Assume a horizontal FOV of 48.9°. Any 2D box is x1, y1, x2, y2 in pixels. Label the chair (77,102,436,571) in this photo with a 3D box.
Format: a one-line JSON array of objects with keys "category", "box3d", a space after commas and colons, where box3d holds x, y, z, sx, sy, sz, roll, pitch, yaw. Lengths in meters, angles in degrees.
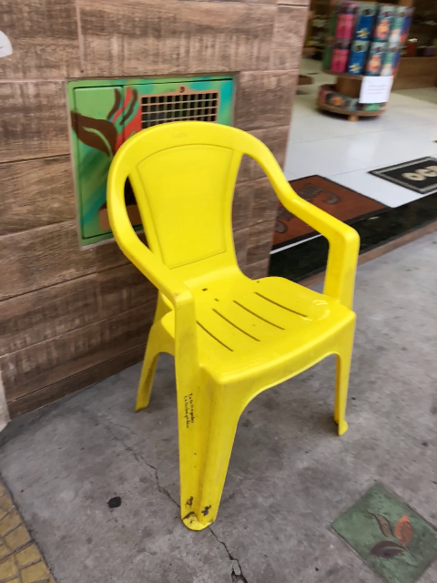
[{"category": "chair", "box3d": [0.118, 0.028, 1.114, 0.642, 0.744, 0.542, -19, 39, -33]}]
